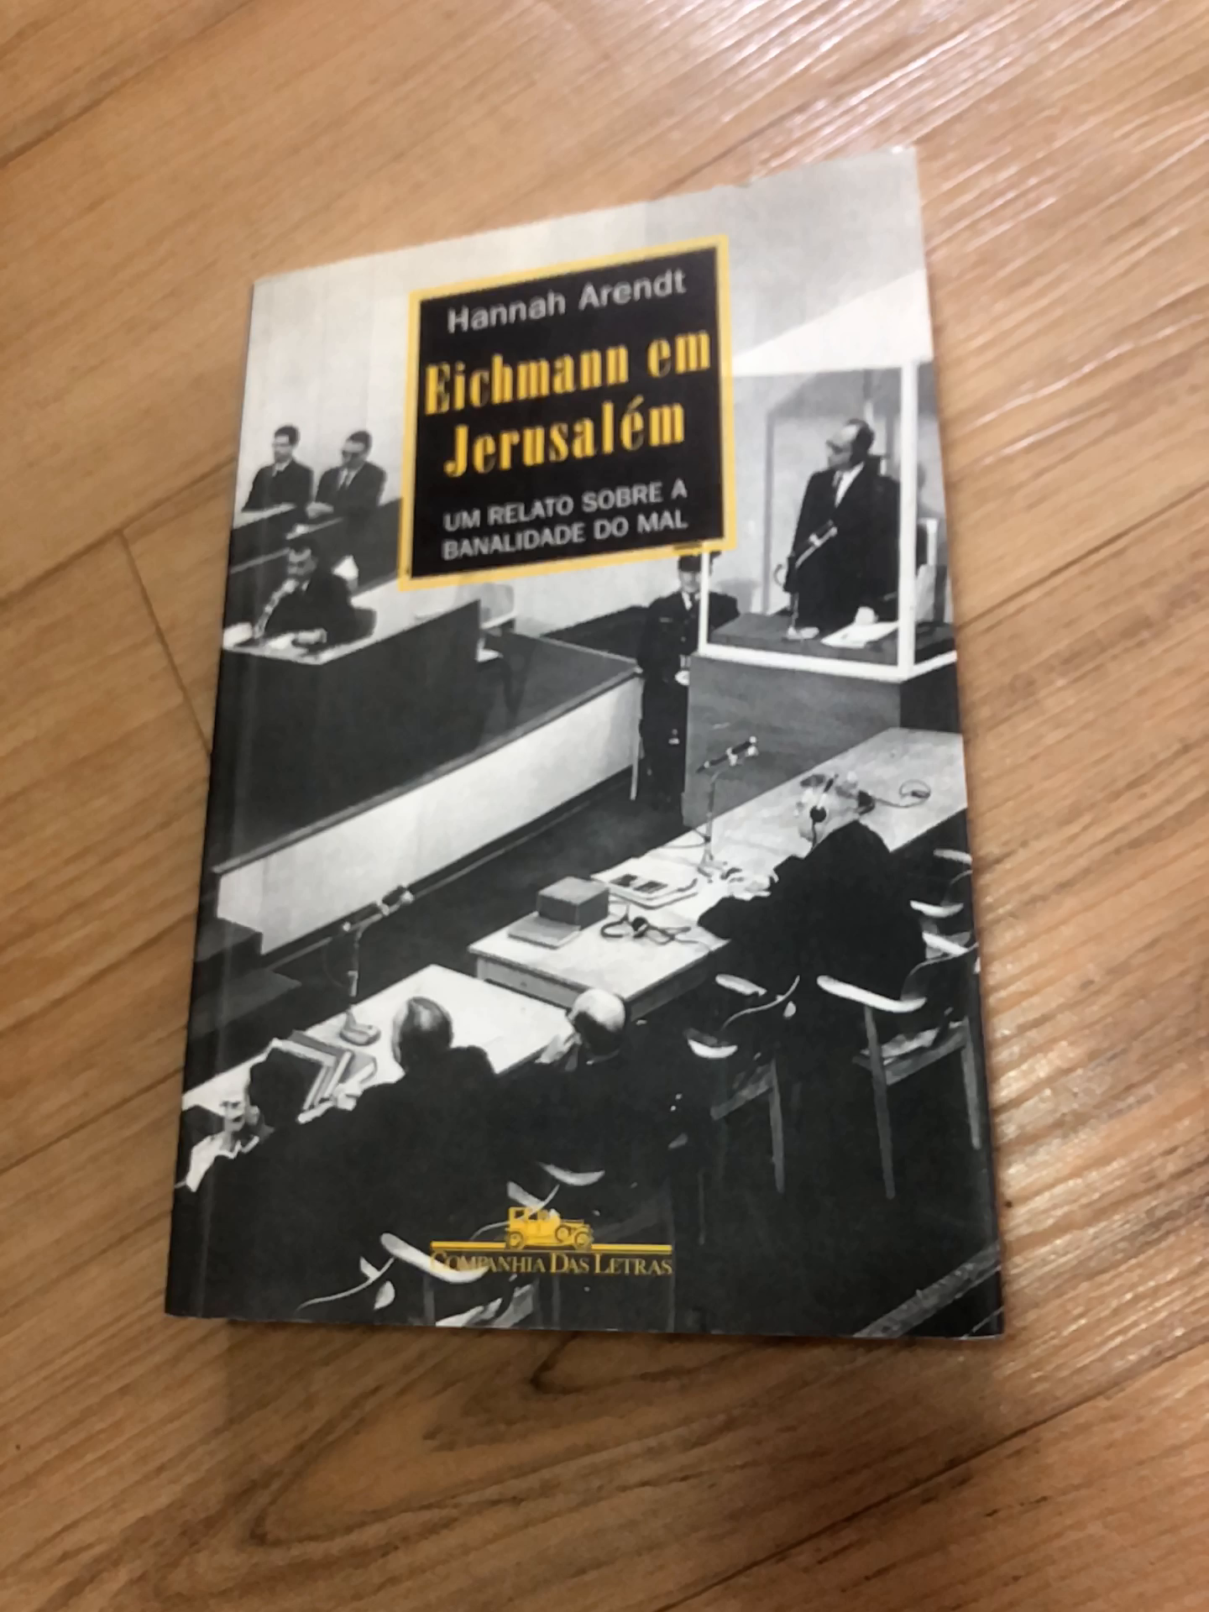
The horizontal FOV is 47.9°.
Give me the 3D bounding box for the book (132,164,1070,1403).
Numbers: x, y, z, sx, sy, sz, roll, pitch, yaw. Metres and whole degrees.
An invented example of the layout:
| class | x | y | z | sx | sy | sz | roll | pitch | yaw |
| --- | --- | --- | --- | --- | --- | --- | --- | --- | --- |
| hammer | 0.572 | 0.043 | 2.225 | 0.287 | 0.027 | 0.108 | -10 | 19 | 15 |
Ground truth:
| class | x | y | z | sx | sy | sz | roll | pitch | yaw |
| --- | --- | --- | --- | --- | --- | --- | --- | --- | --- |
| book | -0.004 | -0.008 | 0.241 | 0.144 | 0.023 | 0.203 | -5 | 73 | 15 |
